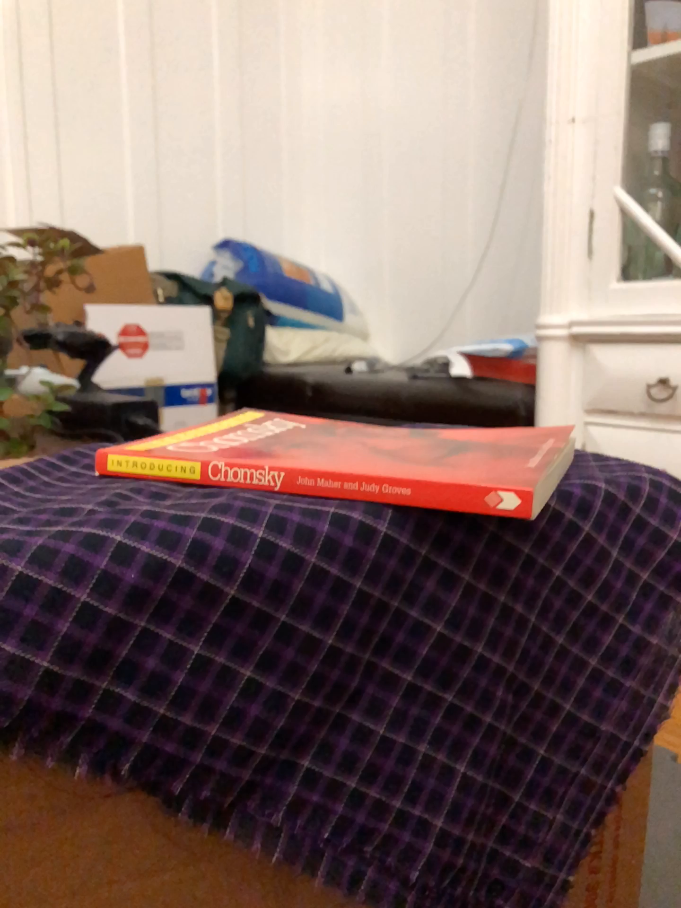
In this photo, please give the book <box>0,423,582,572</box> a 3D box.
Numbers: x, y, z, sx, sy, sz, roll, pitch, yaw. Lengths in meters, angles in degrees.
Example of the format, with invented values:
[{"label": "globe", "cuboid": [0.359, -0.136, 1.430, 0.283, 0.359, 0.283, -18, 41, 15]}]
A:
[{"label": "book", "cuboid": [-0.014, 0.009, 0.373, 0.240, 0.020, 0.180, 3, 10, 22]}]
